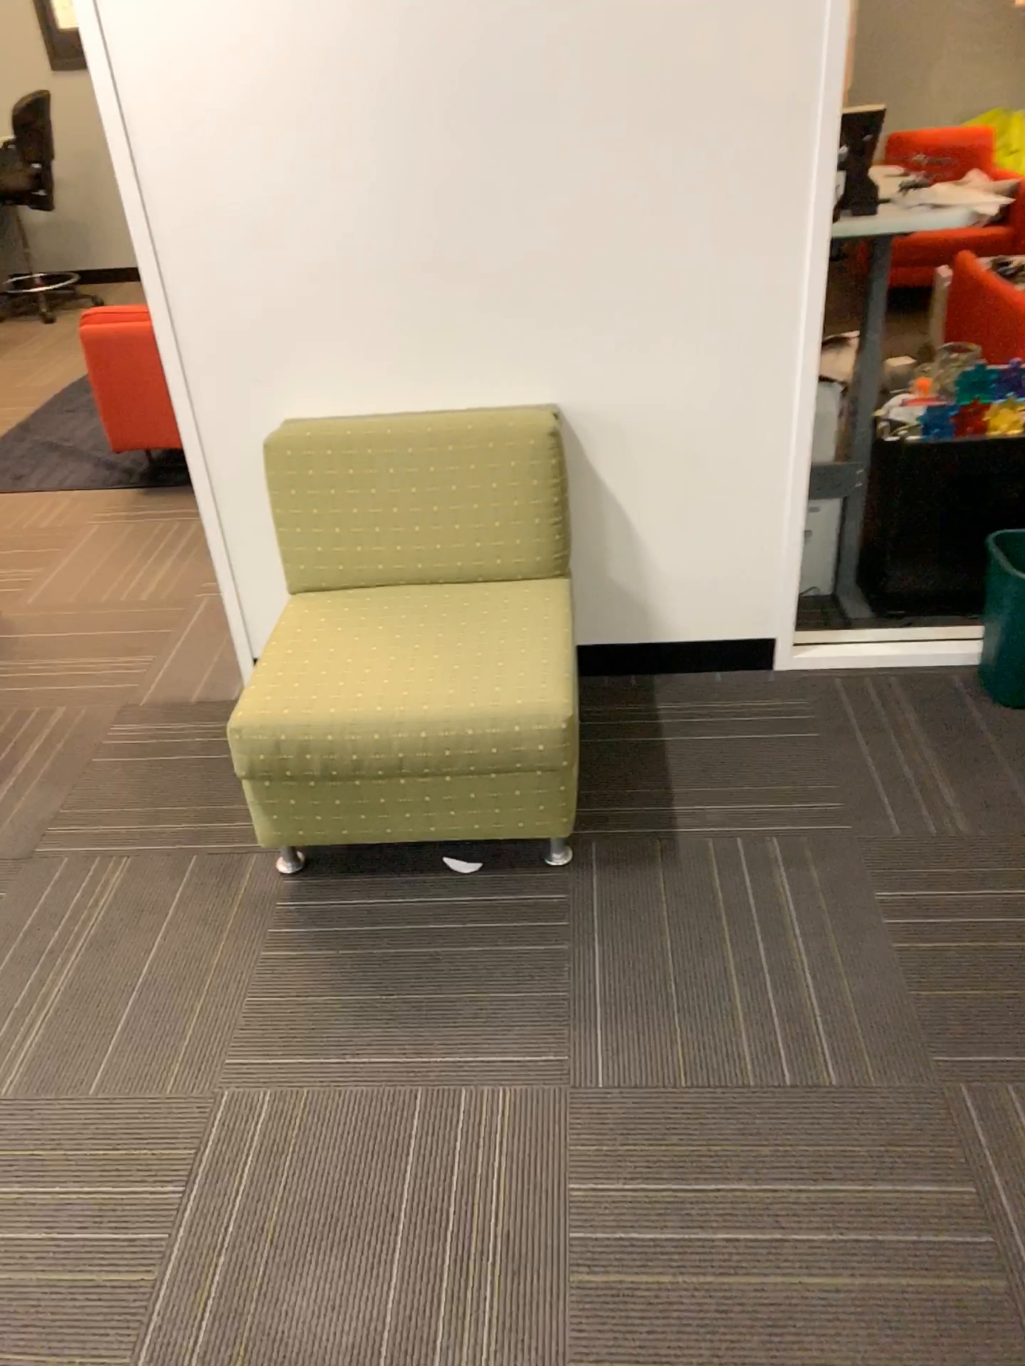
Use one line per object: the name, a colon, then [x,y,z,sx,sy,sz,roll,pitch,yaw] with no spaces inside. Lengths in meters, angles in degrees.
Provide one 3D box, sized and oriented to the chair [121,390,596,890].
chair: [-0.214,-0.114,2.141,0.730,0.685,0.785,-2,34,4]
